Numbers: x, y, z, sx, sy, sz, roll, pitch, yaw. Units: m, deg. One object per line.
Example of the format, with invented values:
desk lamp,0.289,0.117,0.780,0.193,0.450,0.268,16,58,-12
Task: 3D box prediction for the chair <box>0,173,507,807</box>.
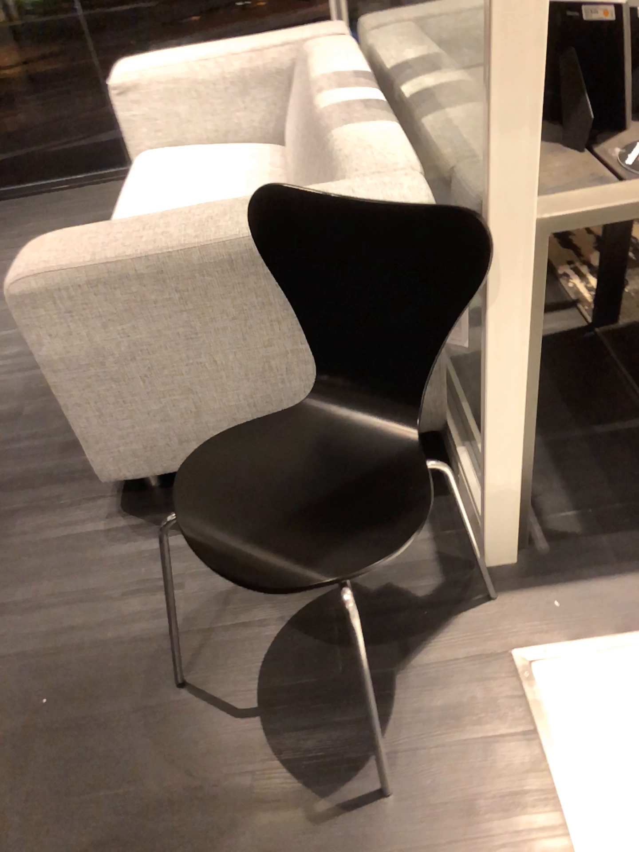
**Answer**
chair,-0.030,0.101,1.141,0.491,0.804,0.503,16,47,28
